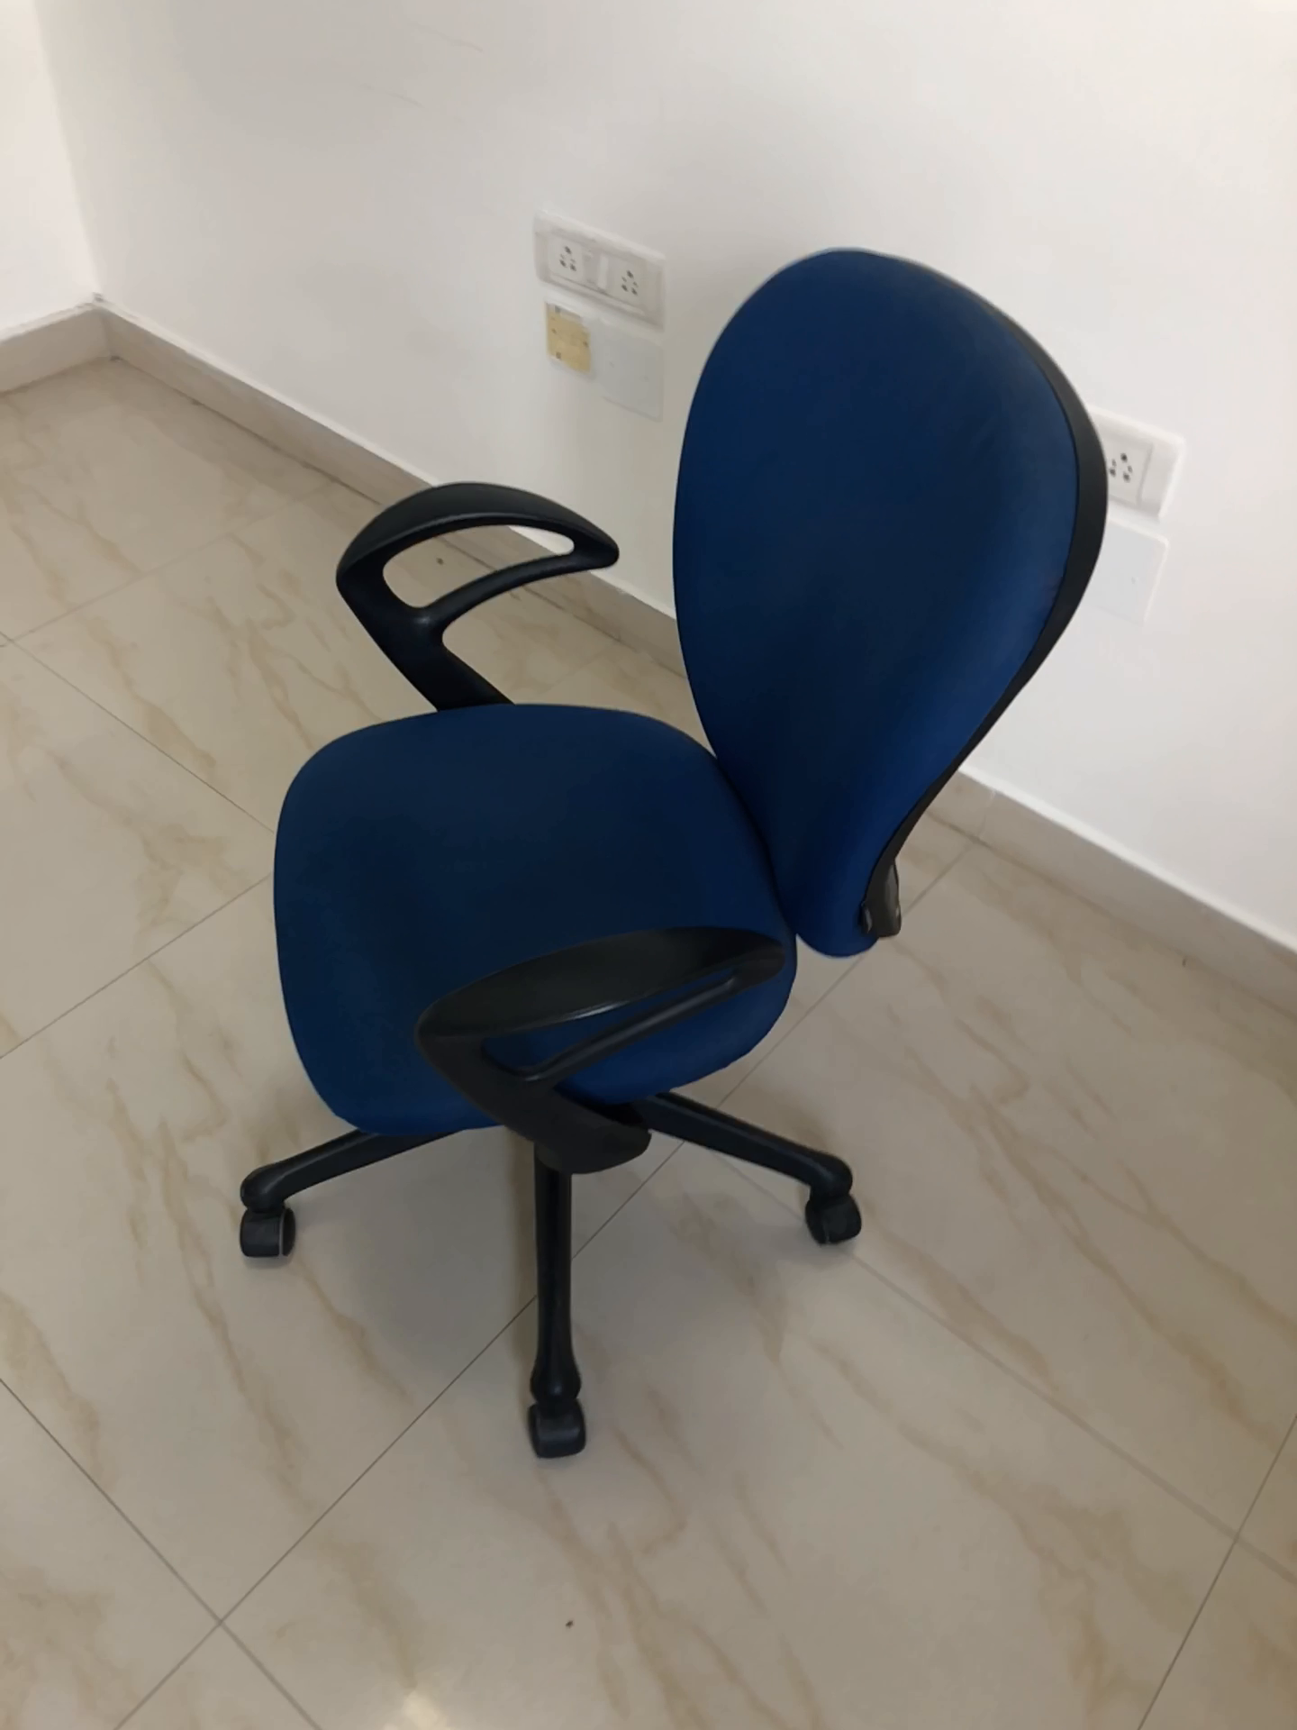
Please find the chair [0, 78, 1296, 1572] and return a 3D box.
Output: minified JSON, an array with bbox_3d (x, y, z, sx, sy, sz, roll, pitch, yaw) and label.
[{"bbox_3d":[-0.088,-0.036,1.240,0.702,0.914,0.653,-25,53,-25],"label":"chair"}]
